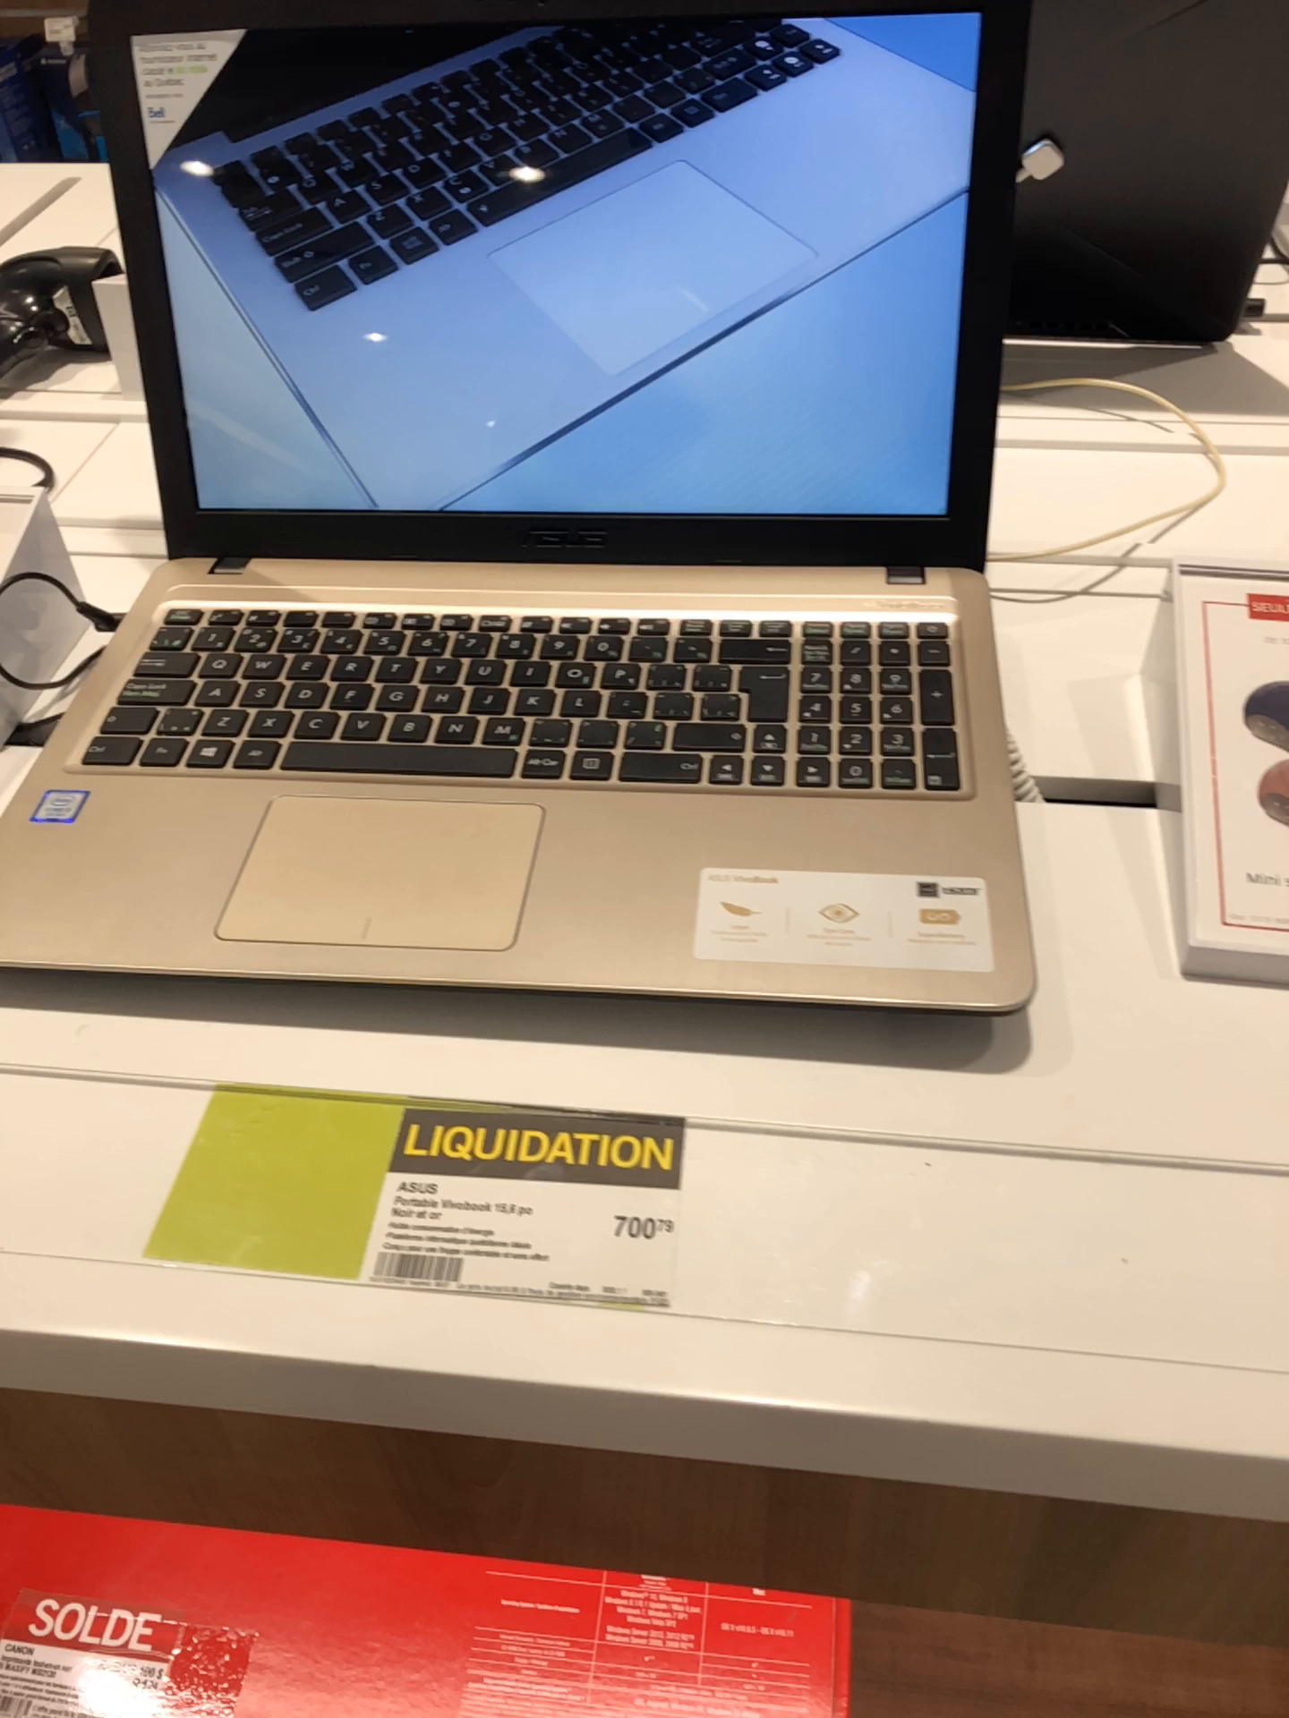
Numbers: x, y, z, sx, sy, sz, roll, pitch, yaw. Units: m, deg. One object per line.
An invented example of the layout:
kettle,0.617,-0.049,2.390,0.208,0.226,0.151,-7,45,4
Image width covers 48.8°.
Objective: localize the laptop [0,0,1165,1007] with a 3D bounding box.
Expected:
laptop,-0.048,-0.161,0.526,0.370,0.204,0.339,3,47,5
